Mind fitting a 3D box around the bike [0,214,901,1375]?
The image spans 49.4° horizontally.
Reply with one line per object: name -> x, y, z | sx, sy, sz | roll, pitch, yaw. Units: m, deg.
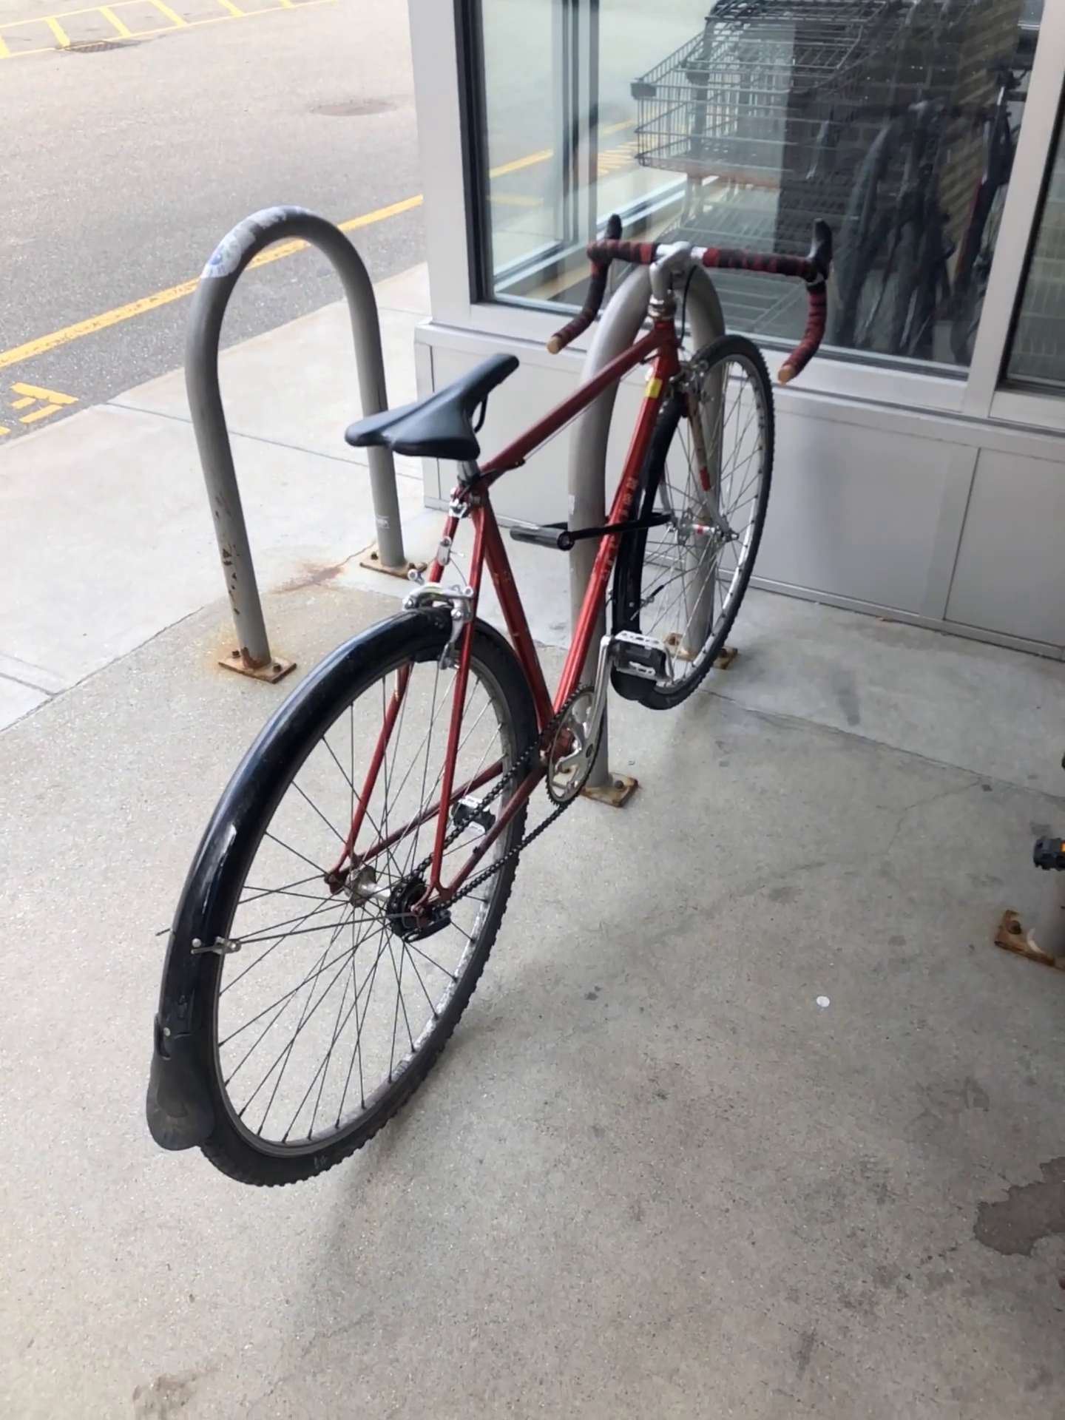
bike -> 0.051, -0.087, 1.772 | 0.458, 0.787, 1.699 | 17, 42, 23
